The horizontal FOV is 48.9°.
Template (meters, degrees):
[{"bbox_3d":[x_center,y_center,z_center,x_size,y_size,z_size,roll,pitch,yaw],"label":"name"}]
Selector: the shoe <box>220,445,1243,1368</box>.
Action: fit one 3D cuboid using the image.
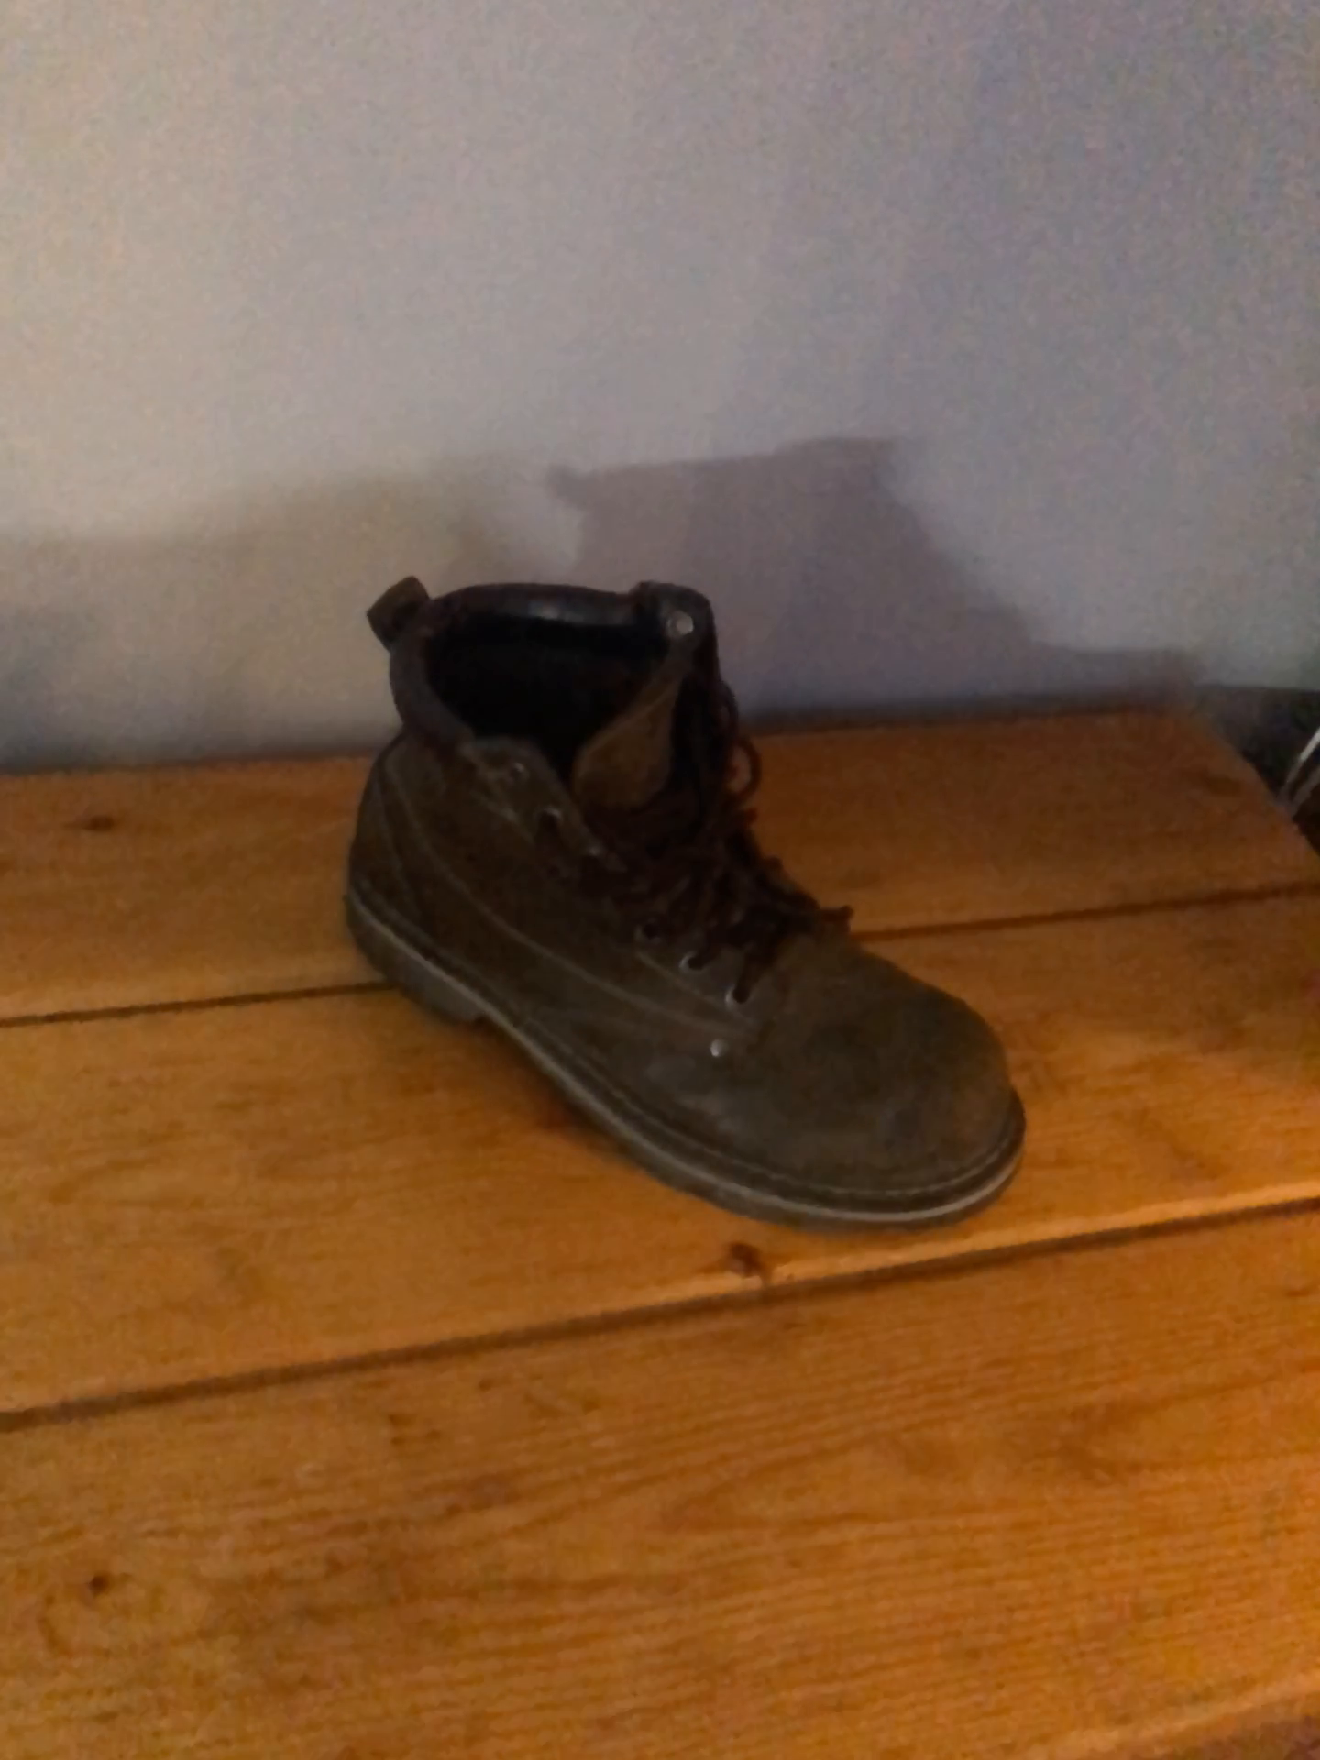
[{"bbox_3d":[0.010,0.004,0.547,0.320,0.189,0.130,28,48,16],"label":"shoe"}]
